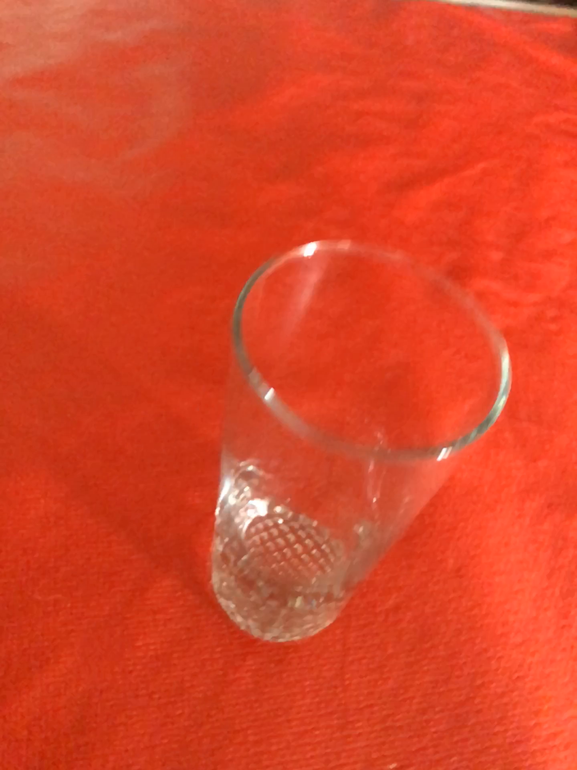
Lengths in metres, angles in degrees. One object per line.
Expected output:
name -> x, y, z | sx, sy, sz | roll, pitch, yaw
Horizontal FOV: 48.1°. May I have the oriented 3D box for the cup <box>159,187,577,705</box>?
cup -> 0.010, 0.031, 0.204 | 0.070, 0.150, 0.070 | 6, 52, -8
